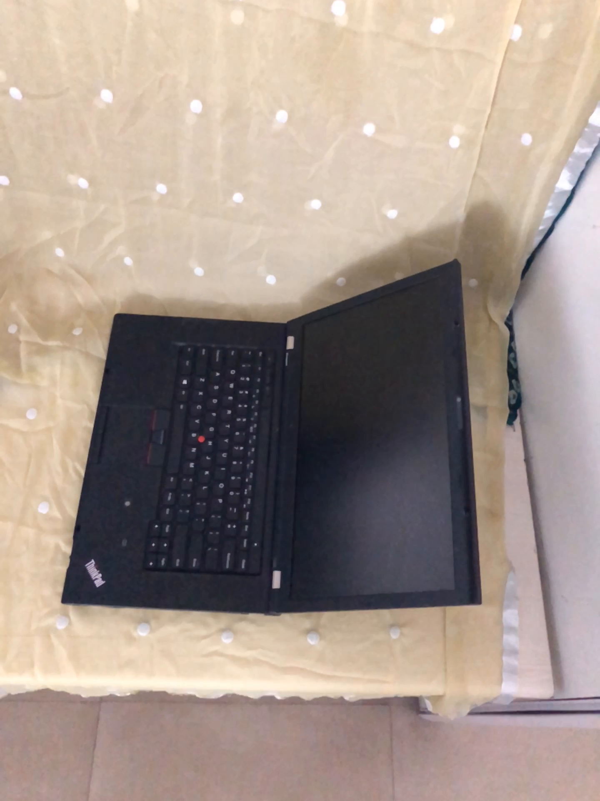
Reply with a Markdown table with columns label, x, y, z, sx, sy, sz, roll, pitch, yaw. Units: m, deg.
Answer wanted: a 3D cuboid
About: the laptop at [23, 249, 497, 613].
| label | x | y | z | sx | sy | sz | roll | pitch | yaw |
| --- | --- | --- | --- | --- | --- | --- | --- | --- | --- |
| laptop | -0.036 | 0.031 | 0.729 | 0.424 | 0.156 | 0.348 | 2 | 66 | 2 |
